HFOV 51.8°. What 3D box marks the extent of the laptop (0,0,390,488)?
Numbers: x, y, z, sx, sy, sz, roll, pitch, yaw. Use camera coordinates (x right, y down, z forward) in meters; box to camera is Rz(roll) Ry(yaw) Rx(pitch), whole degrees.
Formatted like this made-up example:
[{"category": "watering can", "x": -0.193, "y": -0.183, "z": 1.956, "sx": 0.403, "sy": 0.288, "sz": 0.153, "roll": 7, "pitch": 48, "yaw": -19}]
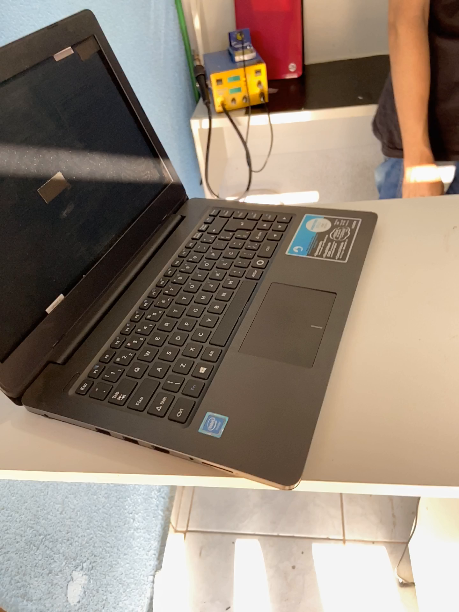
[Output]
[{"category": "laptop", "x": -0.053, "y": -0.099, "z": 0.407, "sx": 0.310, "sy": 0.214, "sz": 0.339, "roll": 10, "pitch": 45, "yaw": 21}]
